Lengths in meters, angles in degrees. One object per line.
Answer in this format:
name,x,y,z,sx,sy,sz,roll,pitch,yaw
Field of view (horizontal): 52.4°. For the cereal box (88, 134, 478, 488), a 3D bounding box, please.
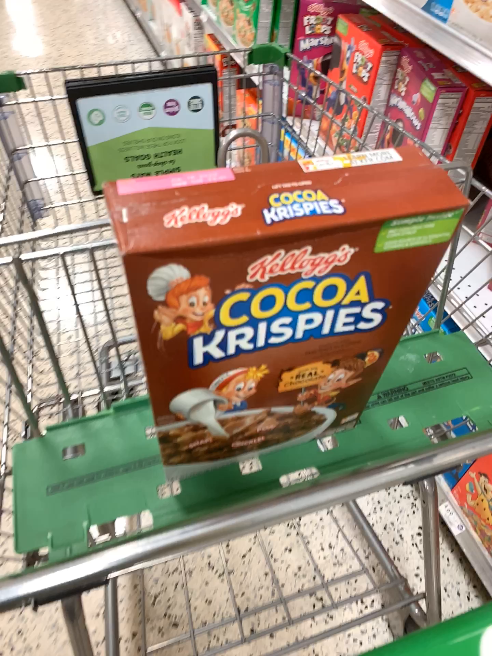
cereal box,0.014,0.017,0.390,0.200,0.307,0.061,-12,55,-12
